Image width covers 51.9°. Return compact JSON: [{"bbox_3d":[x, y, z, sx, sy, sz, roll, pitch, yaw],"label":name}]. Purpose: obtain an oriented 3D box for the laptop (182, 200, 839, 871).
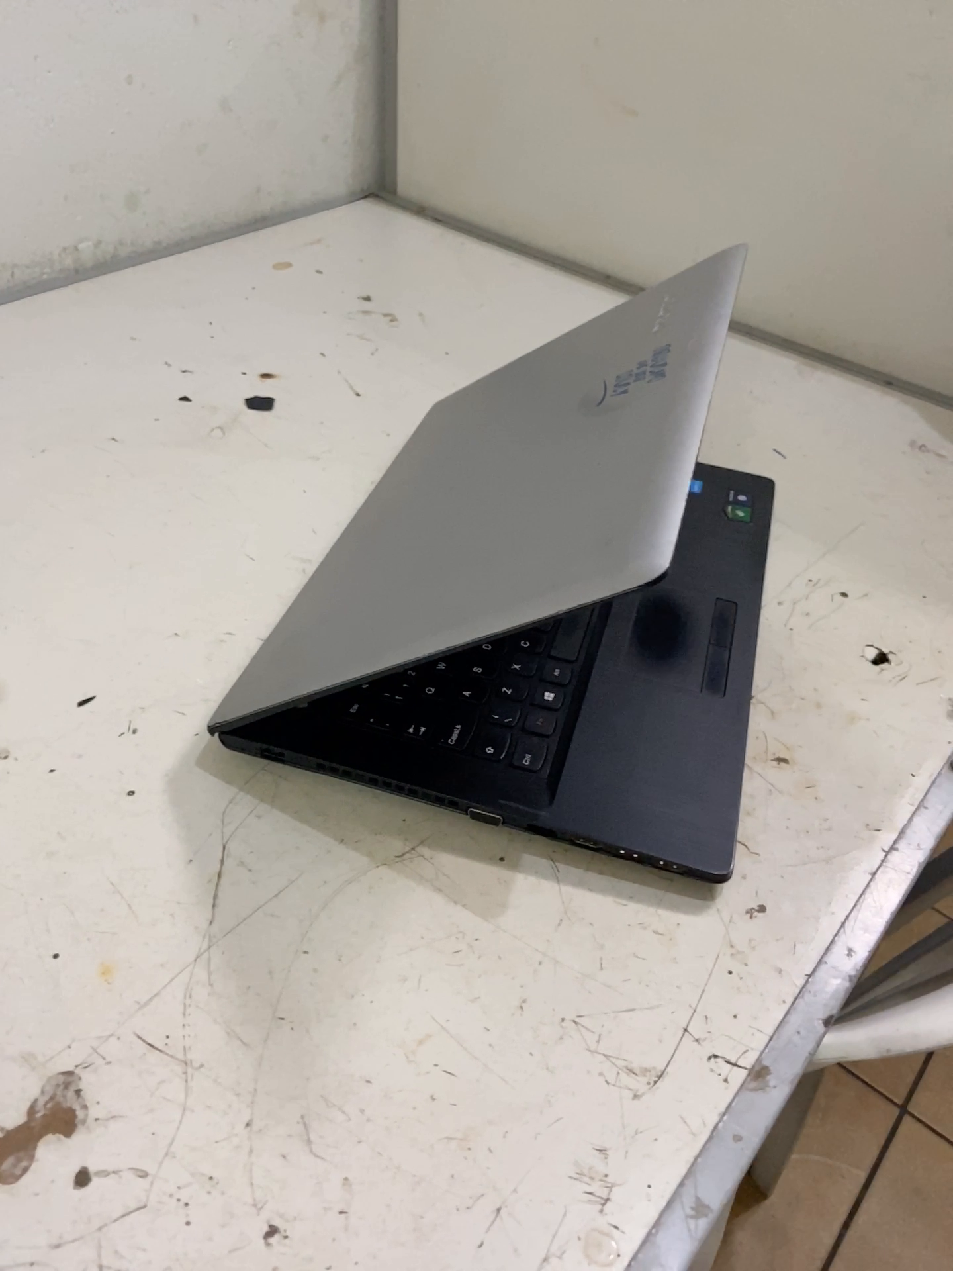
[{"bbox_3d":[0.048,-0.089,0.531,0.245,0.148,0.346,14,41,10],"label":"laptop"}]
